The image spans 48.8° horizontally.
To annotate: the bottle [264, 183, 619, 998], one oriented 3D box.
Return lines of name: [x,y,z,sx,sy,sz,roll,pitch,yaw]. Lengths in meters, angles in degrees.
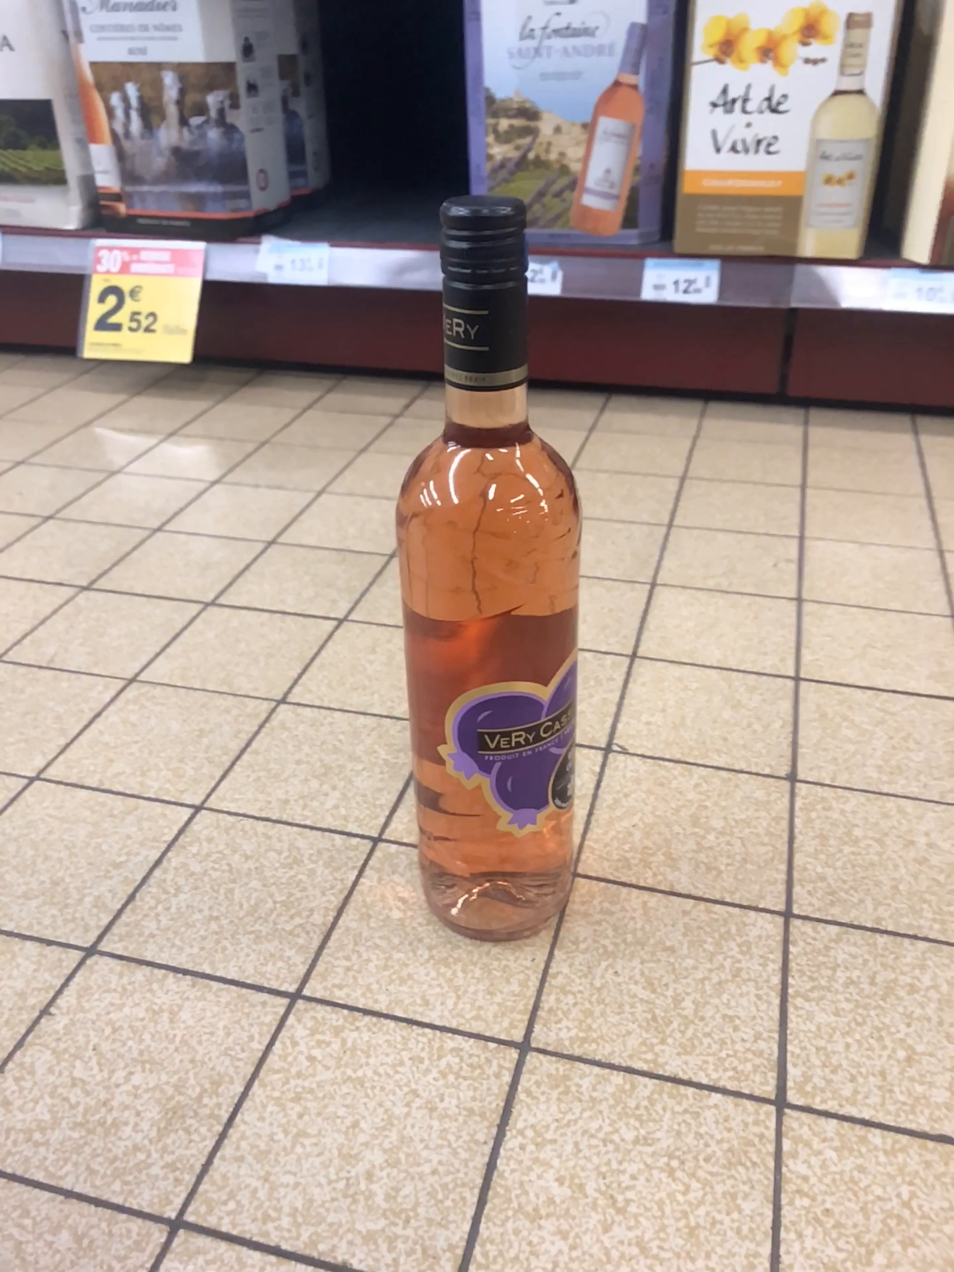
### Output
bottle: [-0.009,-0.008,0.410,0.080,0.298,0.080,-1,30,0]
